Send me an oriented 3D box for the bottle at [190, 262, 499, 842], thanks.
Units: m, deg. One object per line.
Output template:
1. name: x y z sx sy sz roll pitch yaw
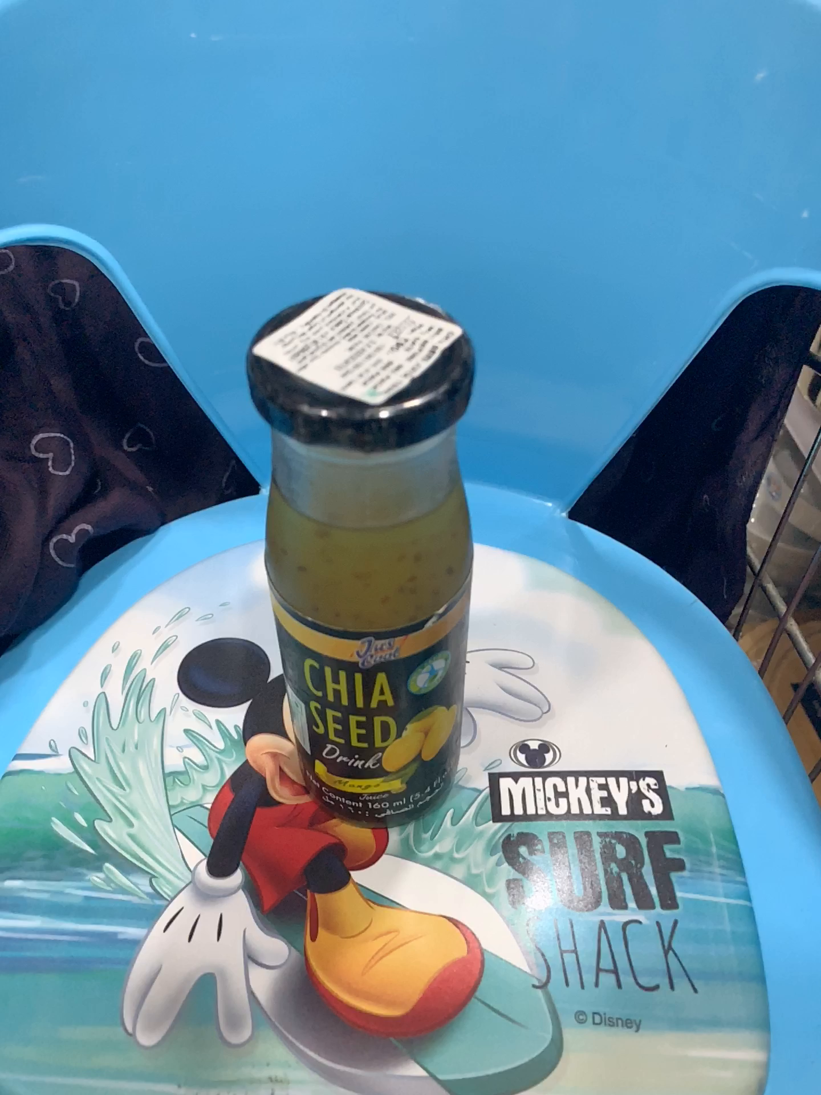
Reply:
1. bottle: -0.009 0.009 0.207 0.050 0.139 0.050 0 41 0
